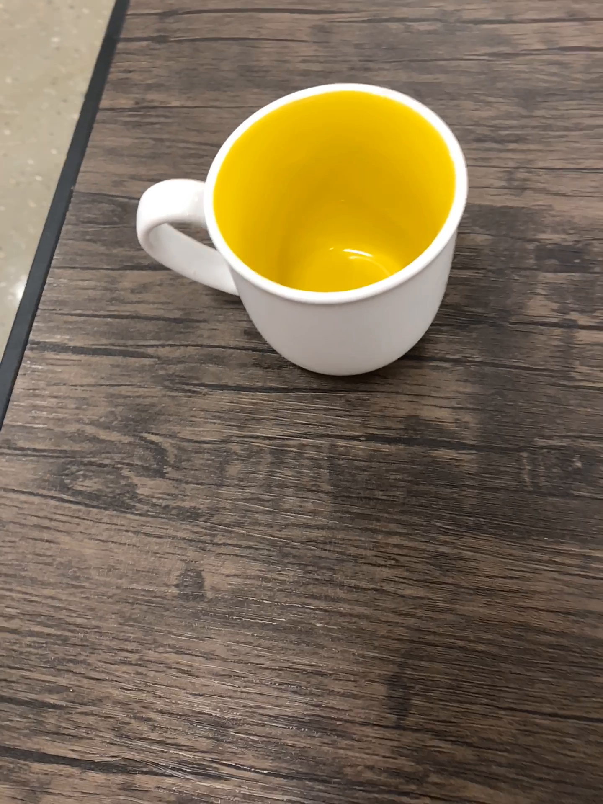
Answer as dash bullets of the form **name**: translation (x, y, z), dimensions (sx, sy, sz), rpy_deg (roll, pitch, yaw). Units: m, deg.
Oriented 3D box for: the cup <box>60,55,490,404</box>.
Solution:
- **cup**: translation (-0.003, -0.063, 0.269), dimensions (0.130, 0.100, 0.080), rpy_deg (9, 70, 10)
